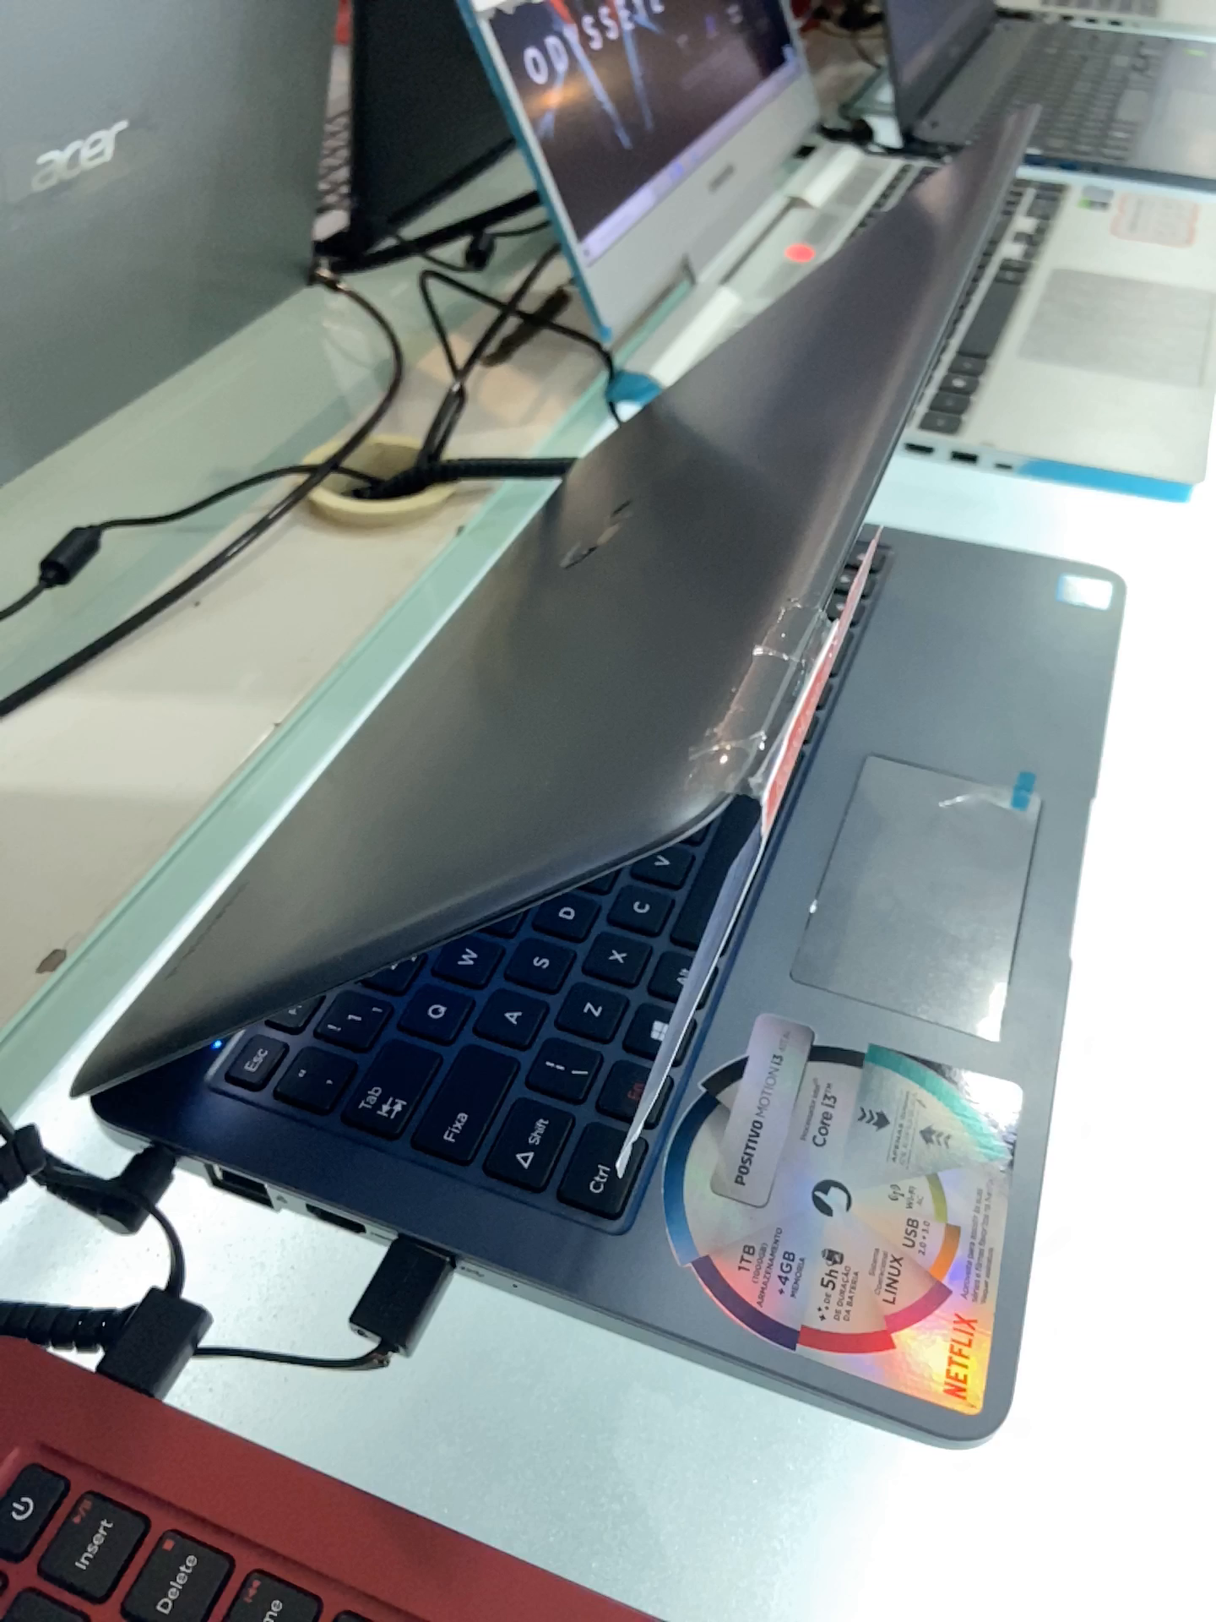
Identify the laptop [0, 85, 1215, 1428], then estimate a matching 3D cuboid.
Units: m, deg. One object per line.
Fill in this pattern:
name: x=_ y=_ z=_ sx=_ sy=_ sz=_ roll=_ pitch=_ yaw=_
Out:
laptop: x=0.034 y=-0.060 z=0.331 sx=0.210 sy=0.145 sz=0.318 roll=15 pitch=45 yaw=15
